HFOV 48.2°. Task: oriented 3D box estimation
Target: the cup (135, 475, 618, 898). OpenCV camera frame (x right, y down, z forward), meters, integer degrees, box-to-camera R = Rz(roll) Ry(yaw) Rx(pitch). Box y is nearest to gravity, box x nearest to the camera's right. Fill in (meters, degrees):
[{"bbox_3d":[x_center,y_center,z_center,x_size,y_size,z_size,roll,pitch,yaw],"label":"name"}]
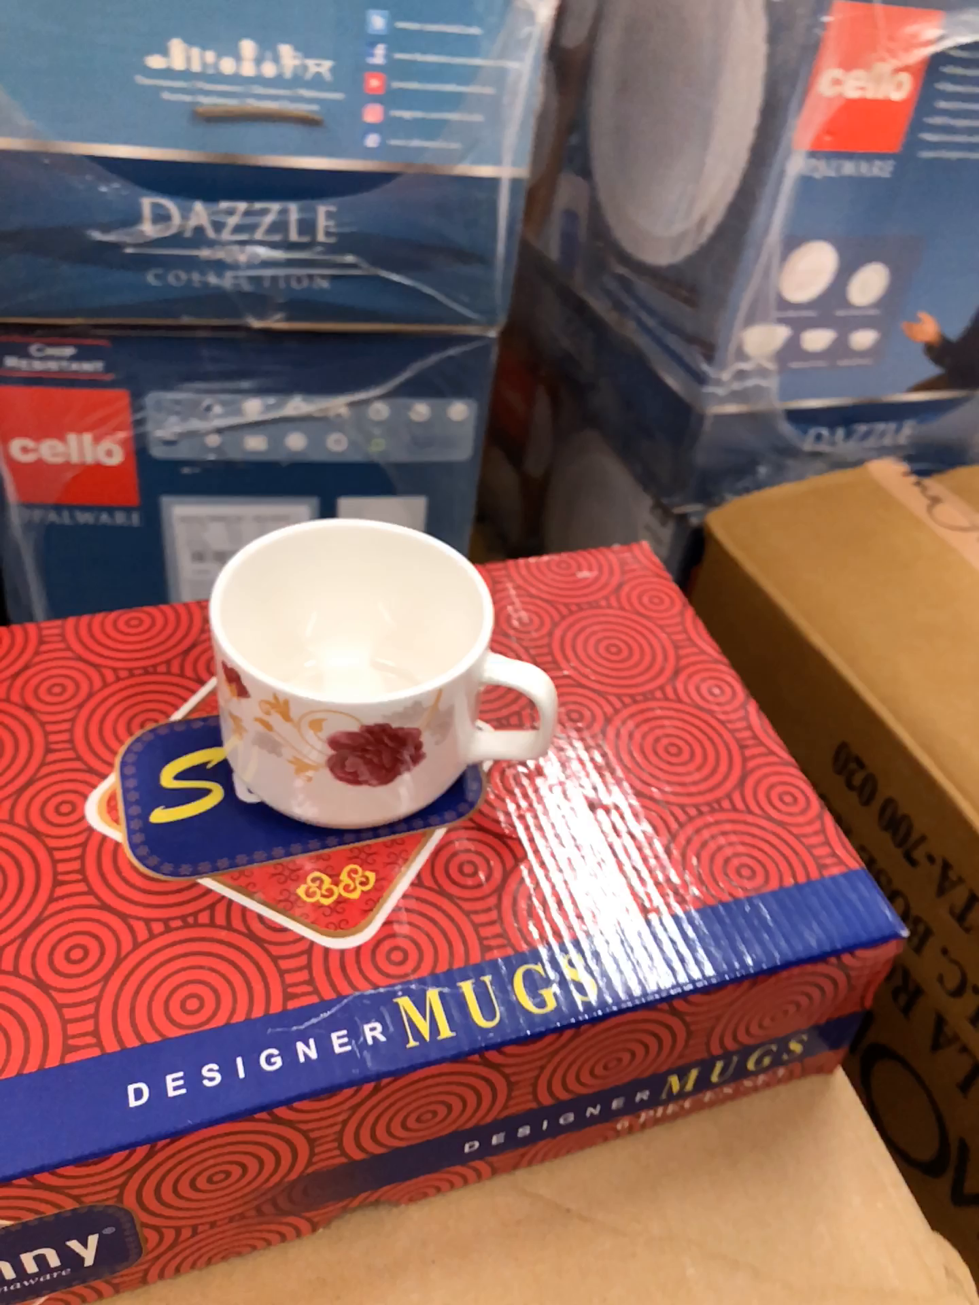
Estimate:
[{"bbox_3d":[-0.026,0.005,0.291,0.100,0.050,0.081,15,40,7],"label":"cup"}]
